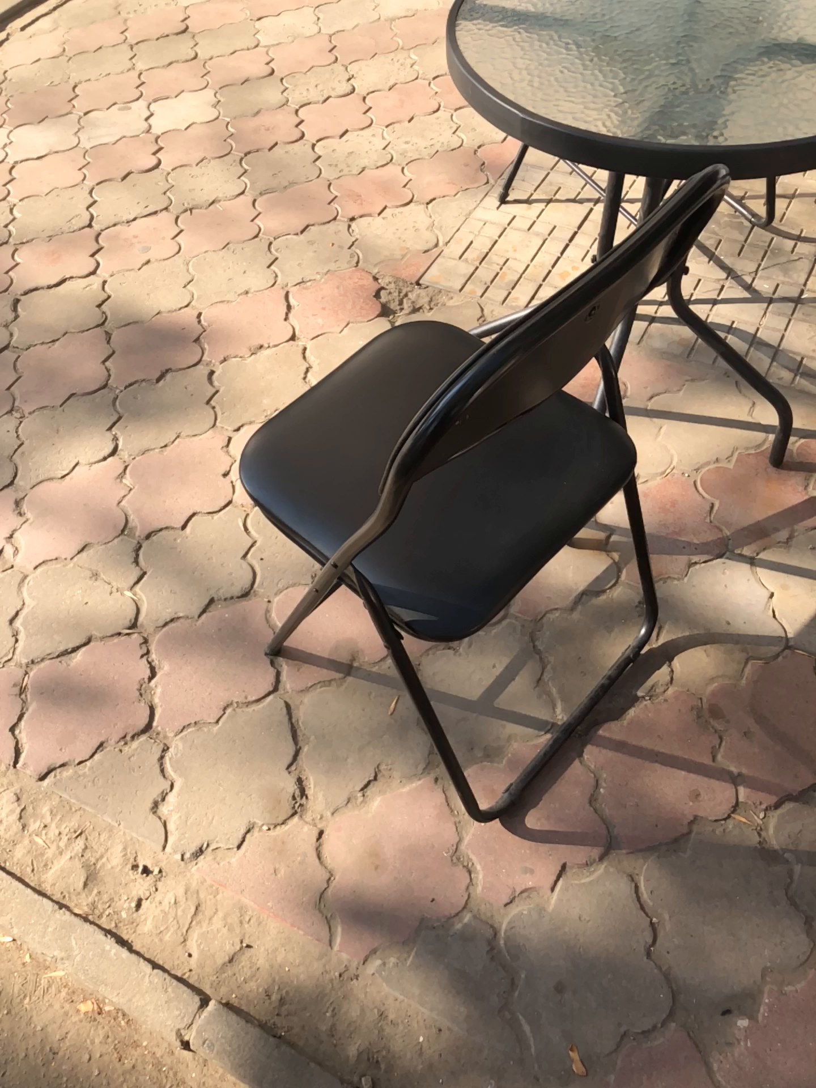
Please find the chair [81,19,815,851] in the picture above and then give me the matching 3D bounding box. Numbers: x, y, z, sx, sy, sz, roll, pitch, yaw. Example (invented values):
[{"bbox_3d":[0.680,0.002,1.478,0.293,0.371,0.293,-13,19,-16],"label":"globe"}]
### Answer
[{"bbox_3d":[0.072,-0.099,1.061,0.471,0.698,0.501,35,62,26],"label":"chair"}]
